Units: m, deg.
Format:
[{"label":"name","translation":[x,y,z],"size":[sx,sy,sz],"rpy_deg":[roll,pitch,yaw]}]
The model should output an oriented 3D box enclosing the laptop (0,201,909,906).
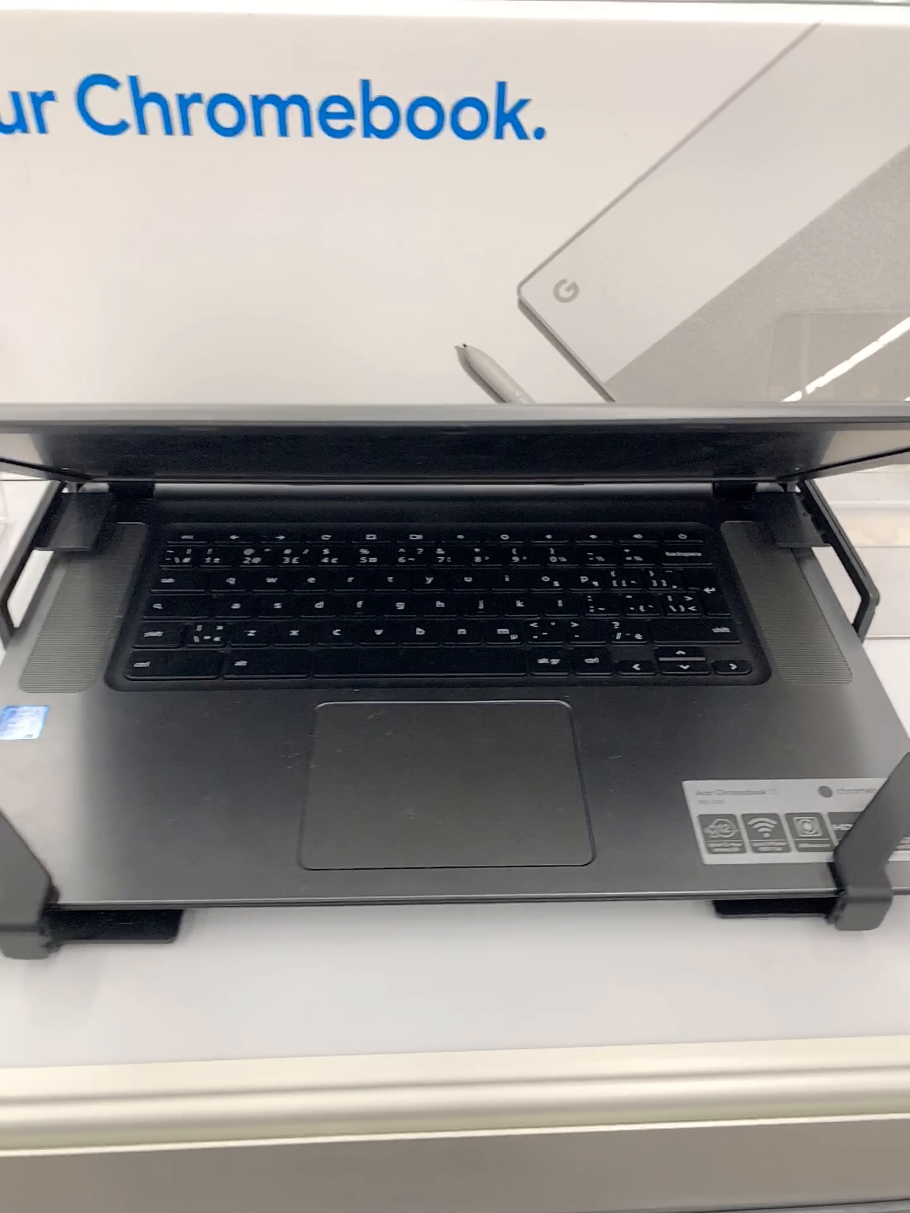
[{"label":"laptop","translation":[-0.002,-0.030,0.291],"size":[0.303,0.119,0.198],"rpy_deg":[0,41,-2]}]
